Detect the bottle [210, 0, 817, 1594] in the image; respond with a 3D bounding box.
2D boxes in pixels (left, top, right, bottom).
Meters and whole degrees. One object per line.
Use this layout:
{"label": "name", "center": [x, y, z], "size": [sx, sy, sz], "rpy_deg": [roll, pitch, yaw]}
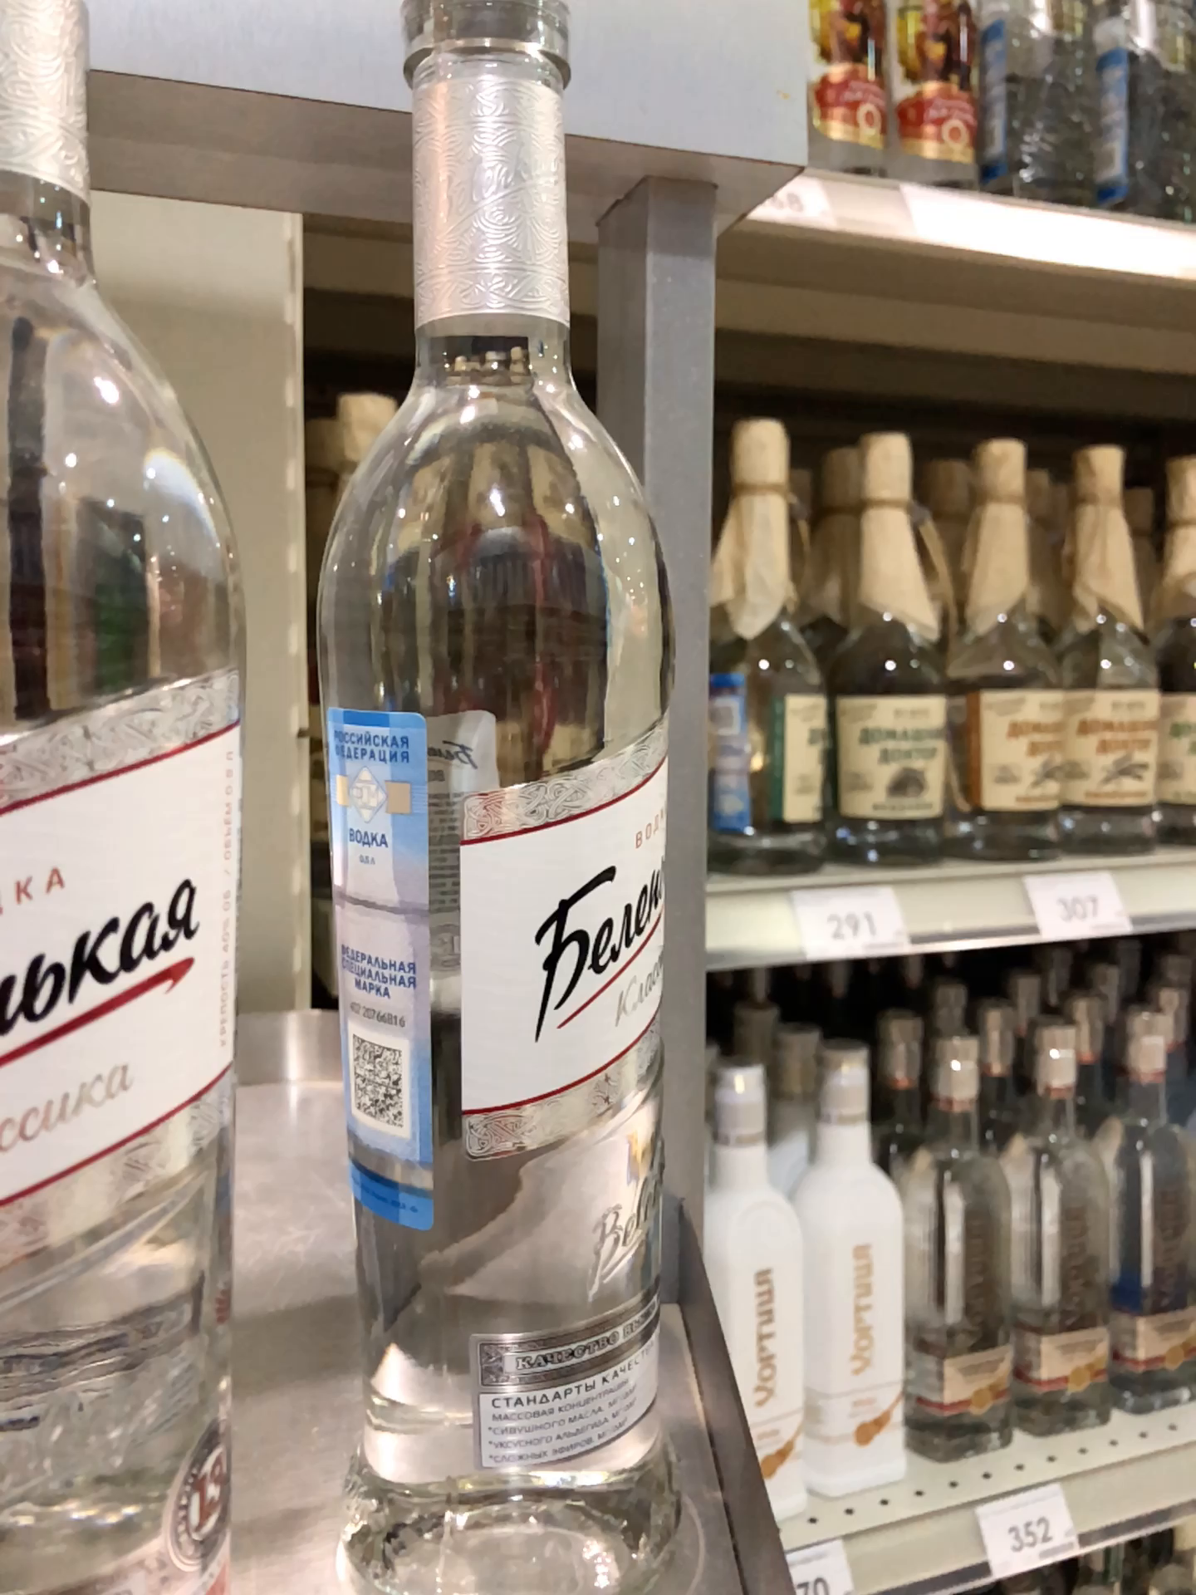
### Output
{"label": "bottle", "center": [-0.011, -0.012, 0.250], "size": [0.080, 0.310, 0.080], "rpy_deg": [0, 4, 0]}
